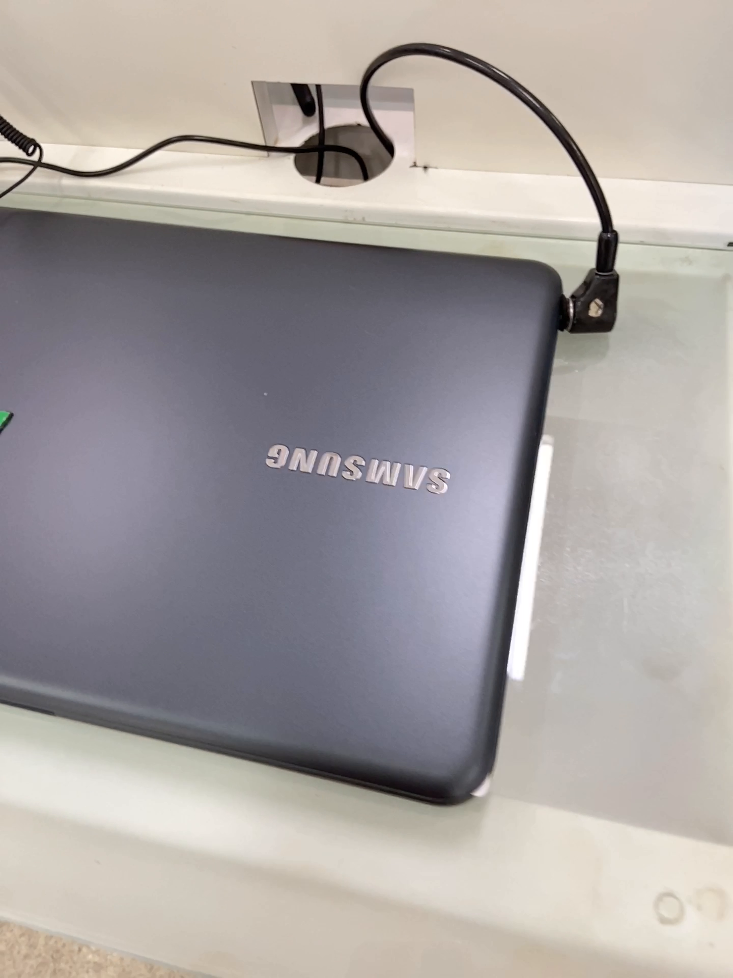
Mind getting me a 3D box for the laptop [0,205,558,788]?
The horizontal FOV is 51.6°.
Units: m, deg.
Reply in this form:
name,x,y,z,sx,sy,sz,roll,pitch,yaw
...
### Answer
name,x,y,z,sx,sy,sz,roll,pitch,yaw
laptop,-0.109,-0.032,0.325,0.350,0.001,0.233,9,60,11
